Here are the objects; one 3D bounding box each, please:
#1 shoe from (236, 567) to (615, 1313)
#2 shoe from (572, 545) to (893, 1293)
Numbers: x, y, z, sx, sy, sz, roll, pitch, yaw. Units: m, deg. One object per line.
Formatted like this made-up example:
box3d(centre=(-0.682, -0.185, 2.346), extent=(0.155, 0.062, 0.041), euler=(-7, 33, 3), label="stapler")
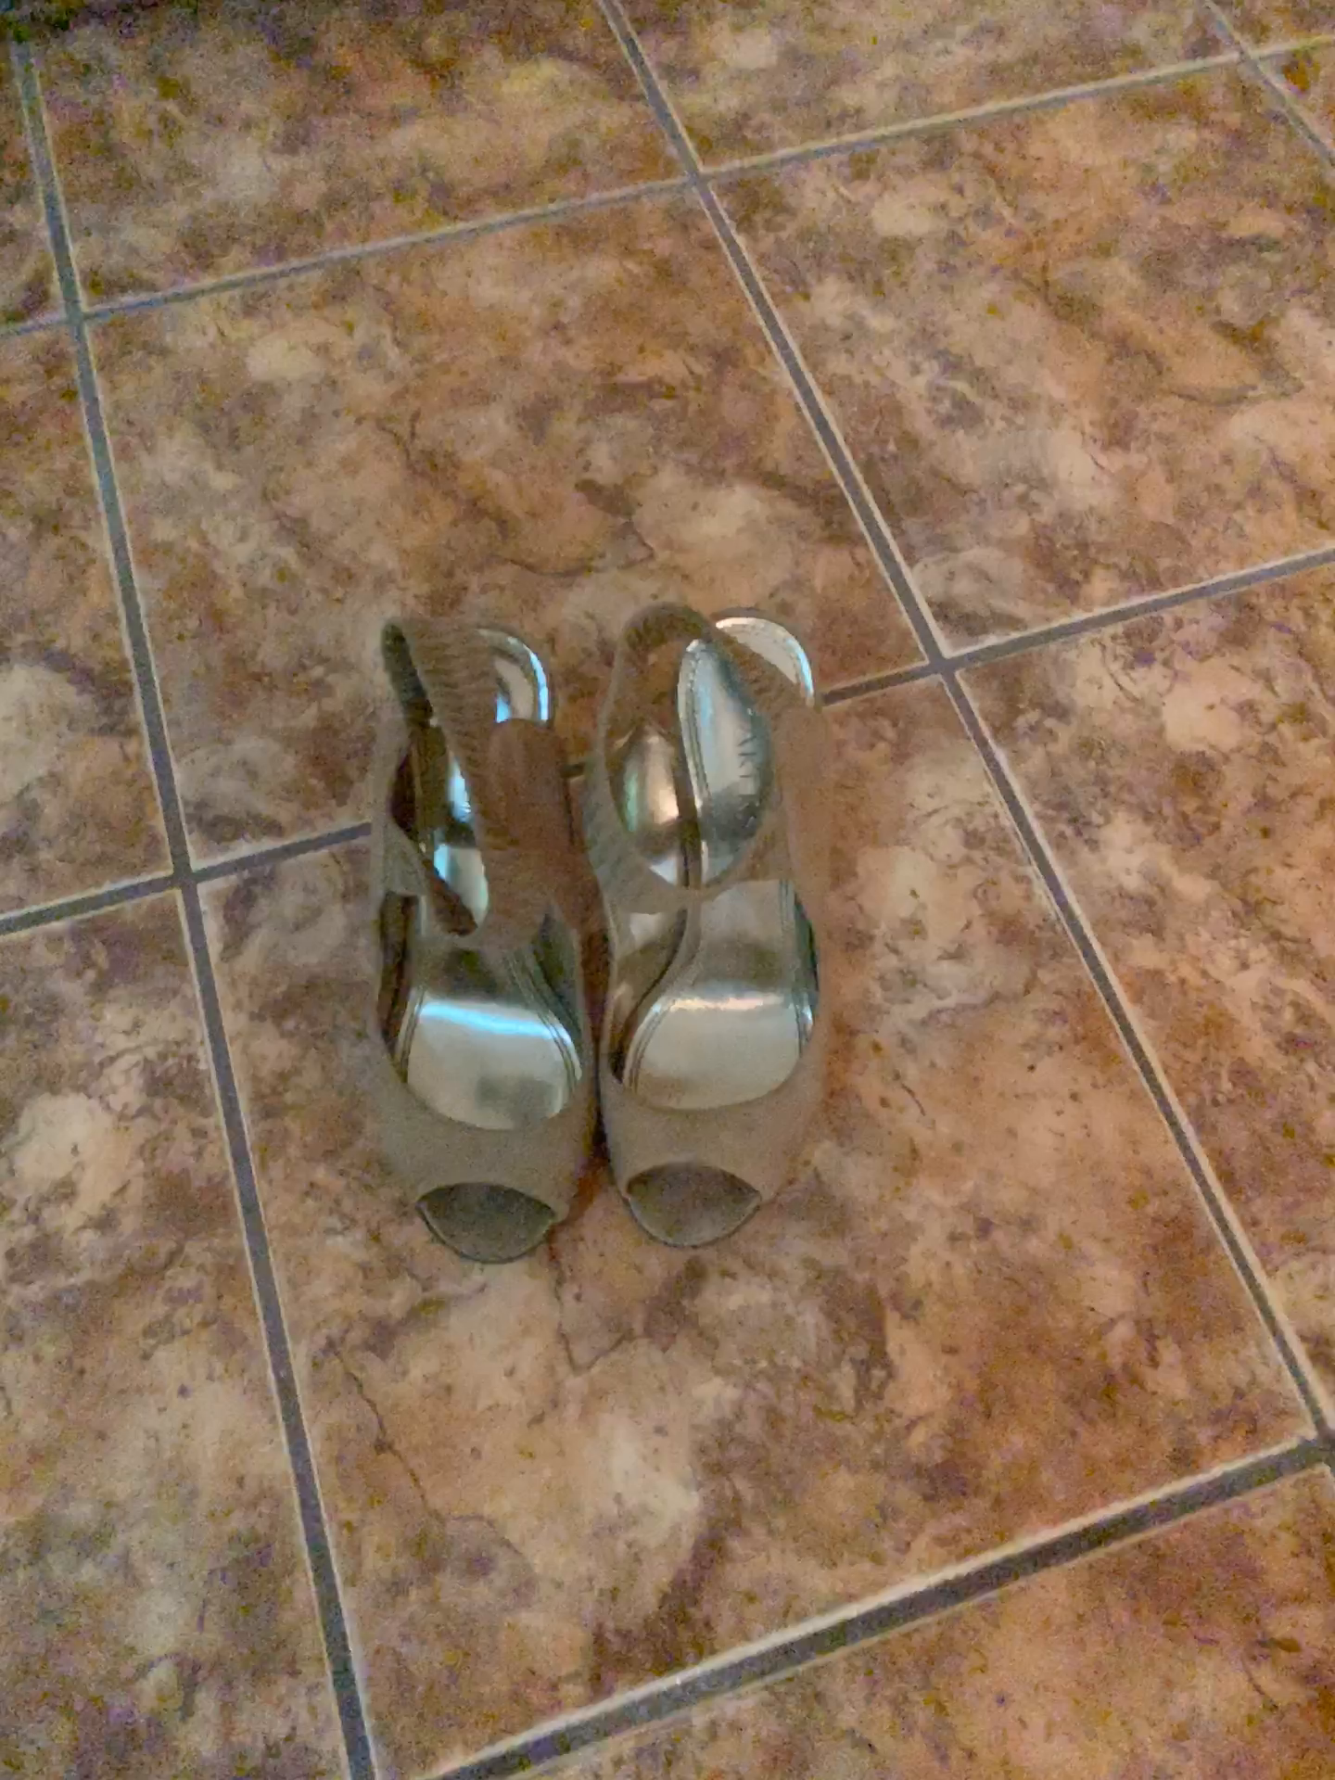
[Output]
box3d(centre=(-0.066, 0.021, 0.457), extent=(0.081, 0.140, 0.209), euler=(2, 63, 1), label="shoe")
box3d(centre=(0.020, 0.015, 0.456), extent=(0.081, 0.150, 0.205), euler=(2, 63, 1), label="shoe")
